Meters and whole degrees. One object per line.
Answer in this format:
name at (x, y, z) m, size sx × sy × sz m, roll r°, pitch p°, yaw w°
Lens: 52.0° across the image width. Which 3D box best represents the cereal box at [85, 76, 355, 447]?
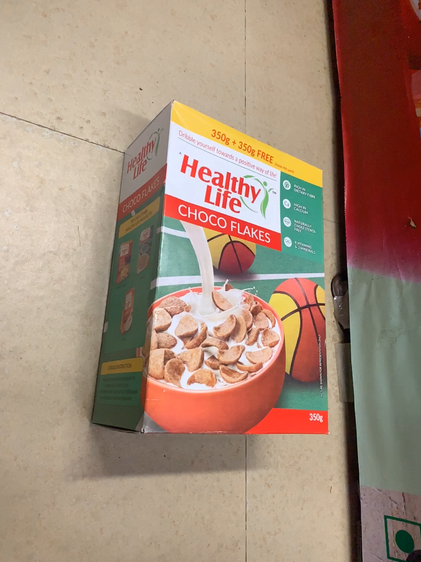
cereal box at (0.016, 0.000, 0.404) m, size 0.201 × 0.110 × 0.280 m, roll 13°, pitch 70°, yaw -32°
